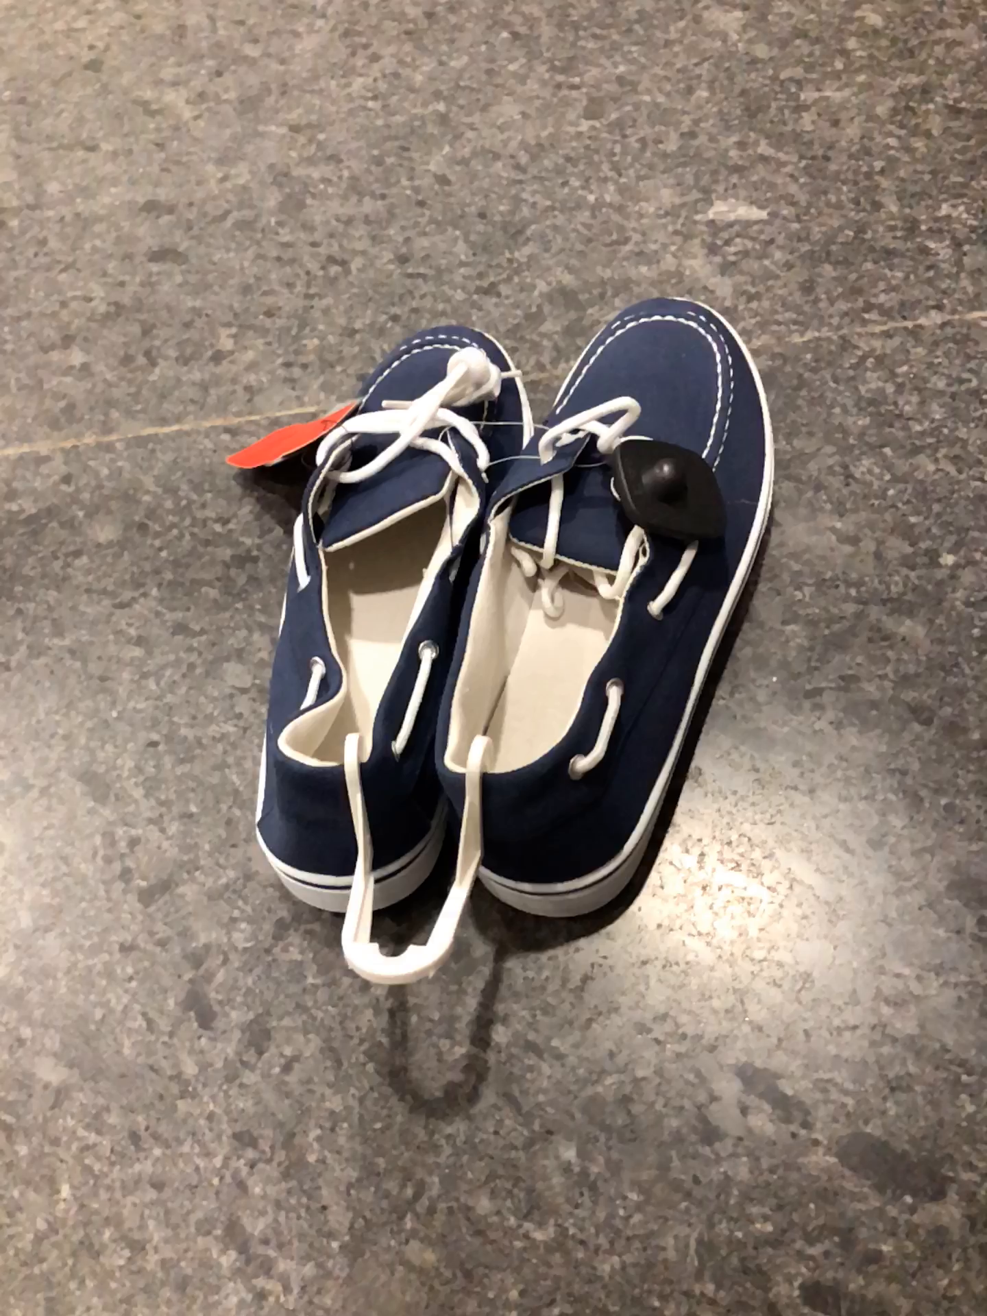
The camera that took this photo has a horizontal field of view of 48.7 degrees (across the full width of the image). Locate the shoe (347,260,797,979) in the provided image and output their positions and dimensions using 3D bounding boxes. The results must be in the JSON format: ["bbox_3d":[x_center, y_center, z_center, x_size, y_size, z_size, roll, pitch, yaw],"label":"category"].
[{"bbox_3d":[0.046,-0.023,0.426,0.096,0.115,0.247,10,61,17],"label":"shoe"}]

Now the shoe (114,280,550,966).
[{"bbox_3d":[-0.045,-0.020,0.440,0.096,0.115,0.249,1,59,12],"label":"shoe"}]
